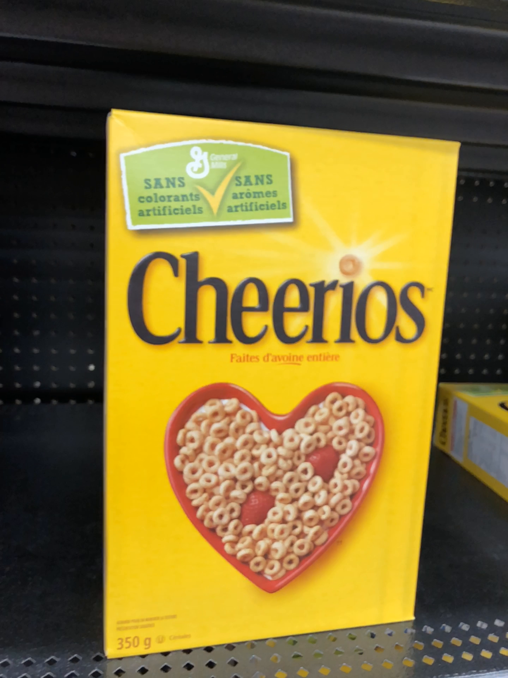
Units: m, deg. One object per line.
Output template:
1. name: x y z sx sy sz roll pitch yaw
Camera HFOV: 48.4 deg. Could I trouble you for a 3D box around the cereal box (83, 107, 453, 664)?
1. cereal box: -0.001 0.030 0.371 0.210 0.309 0.080 0 9 -15
